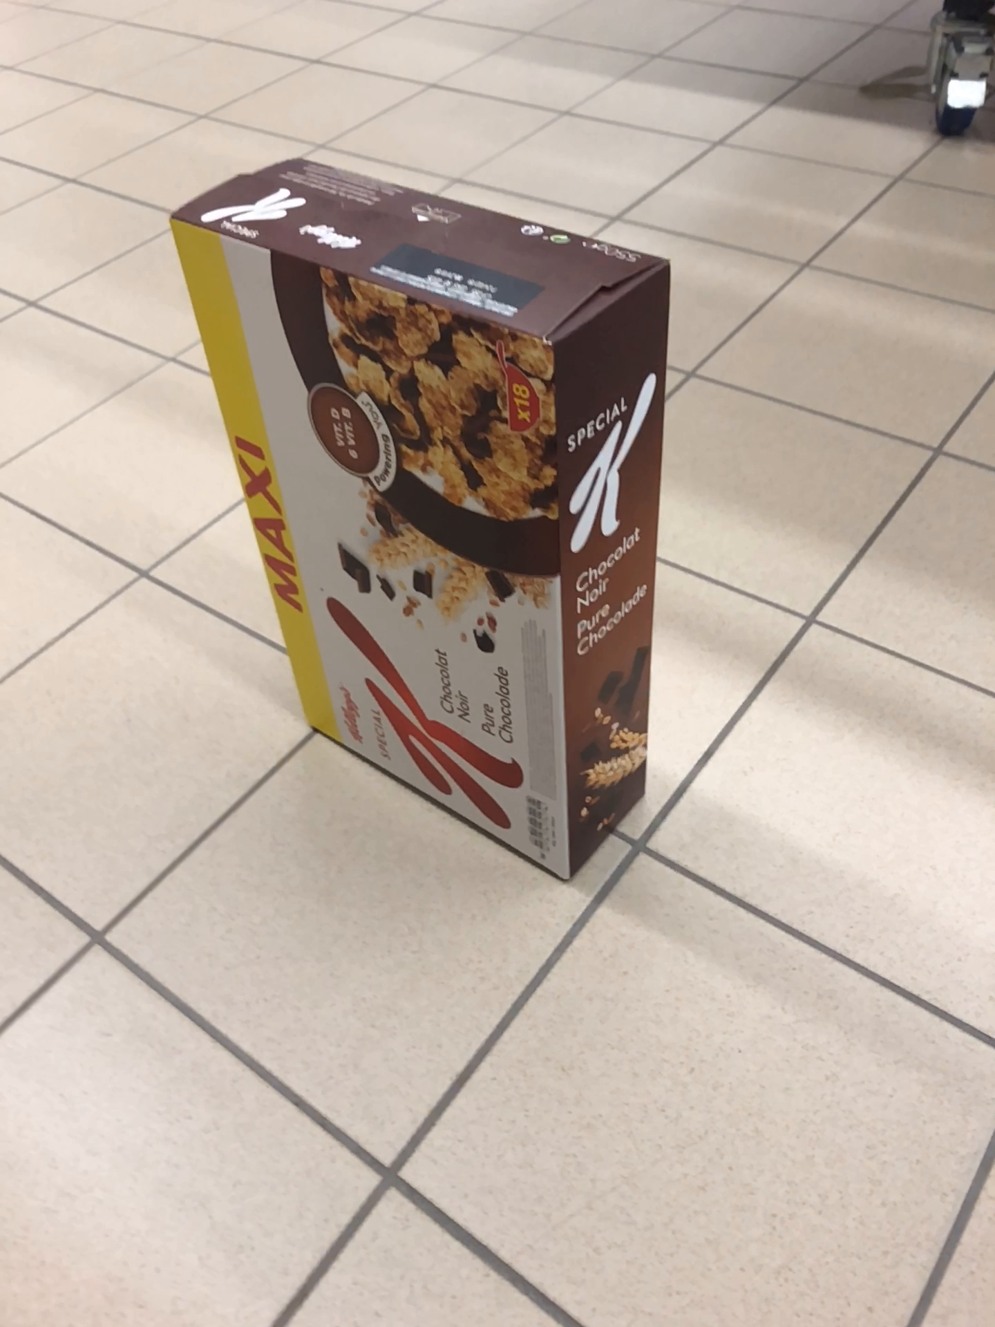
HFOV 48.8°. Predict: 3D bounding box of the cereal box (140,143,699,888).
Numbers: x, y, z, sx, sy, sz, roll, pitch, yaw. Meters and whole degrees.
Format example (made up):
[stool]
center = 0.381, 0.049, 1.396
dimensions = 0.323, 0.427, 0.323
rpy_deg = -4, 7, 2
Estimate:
[cereal box]
center = -0.028, -0.057, 0.509
dimensions = 0.210, 0.298, 0.070
rpy_deg = 24, 50, 27
